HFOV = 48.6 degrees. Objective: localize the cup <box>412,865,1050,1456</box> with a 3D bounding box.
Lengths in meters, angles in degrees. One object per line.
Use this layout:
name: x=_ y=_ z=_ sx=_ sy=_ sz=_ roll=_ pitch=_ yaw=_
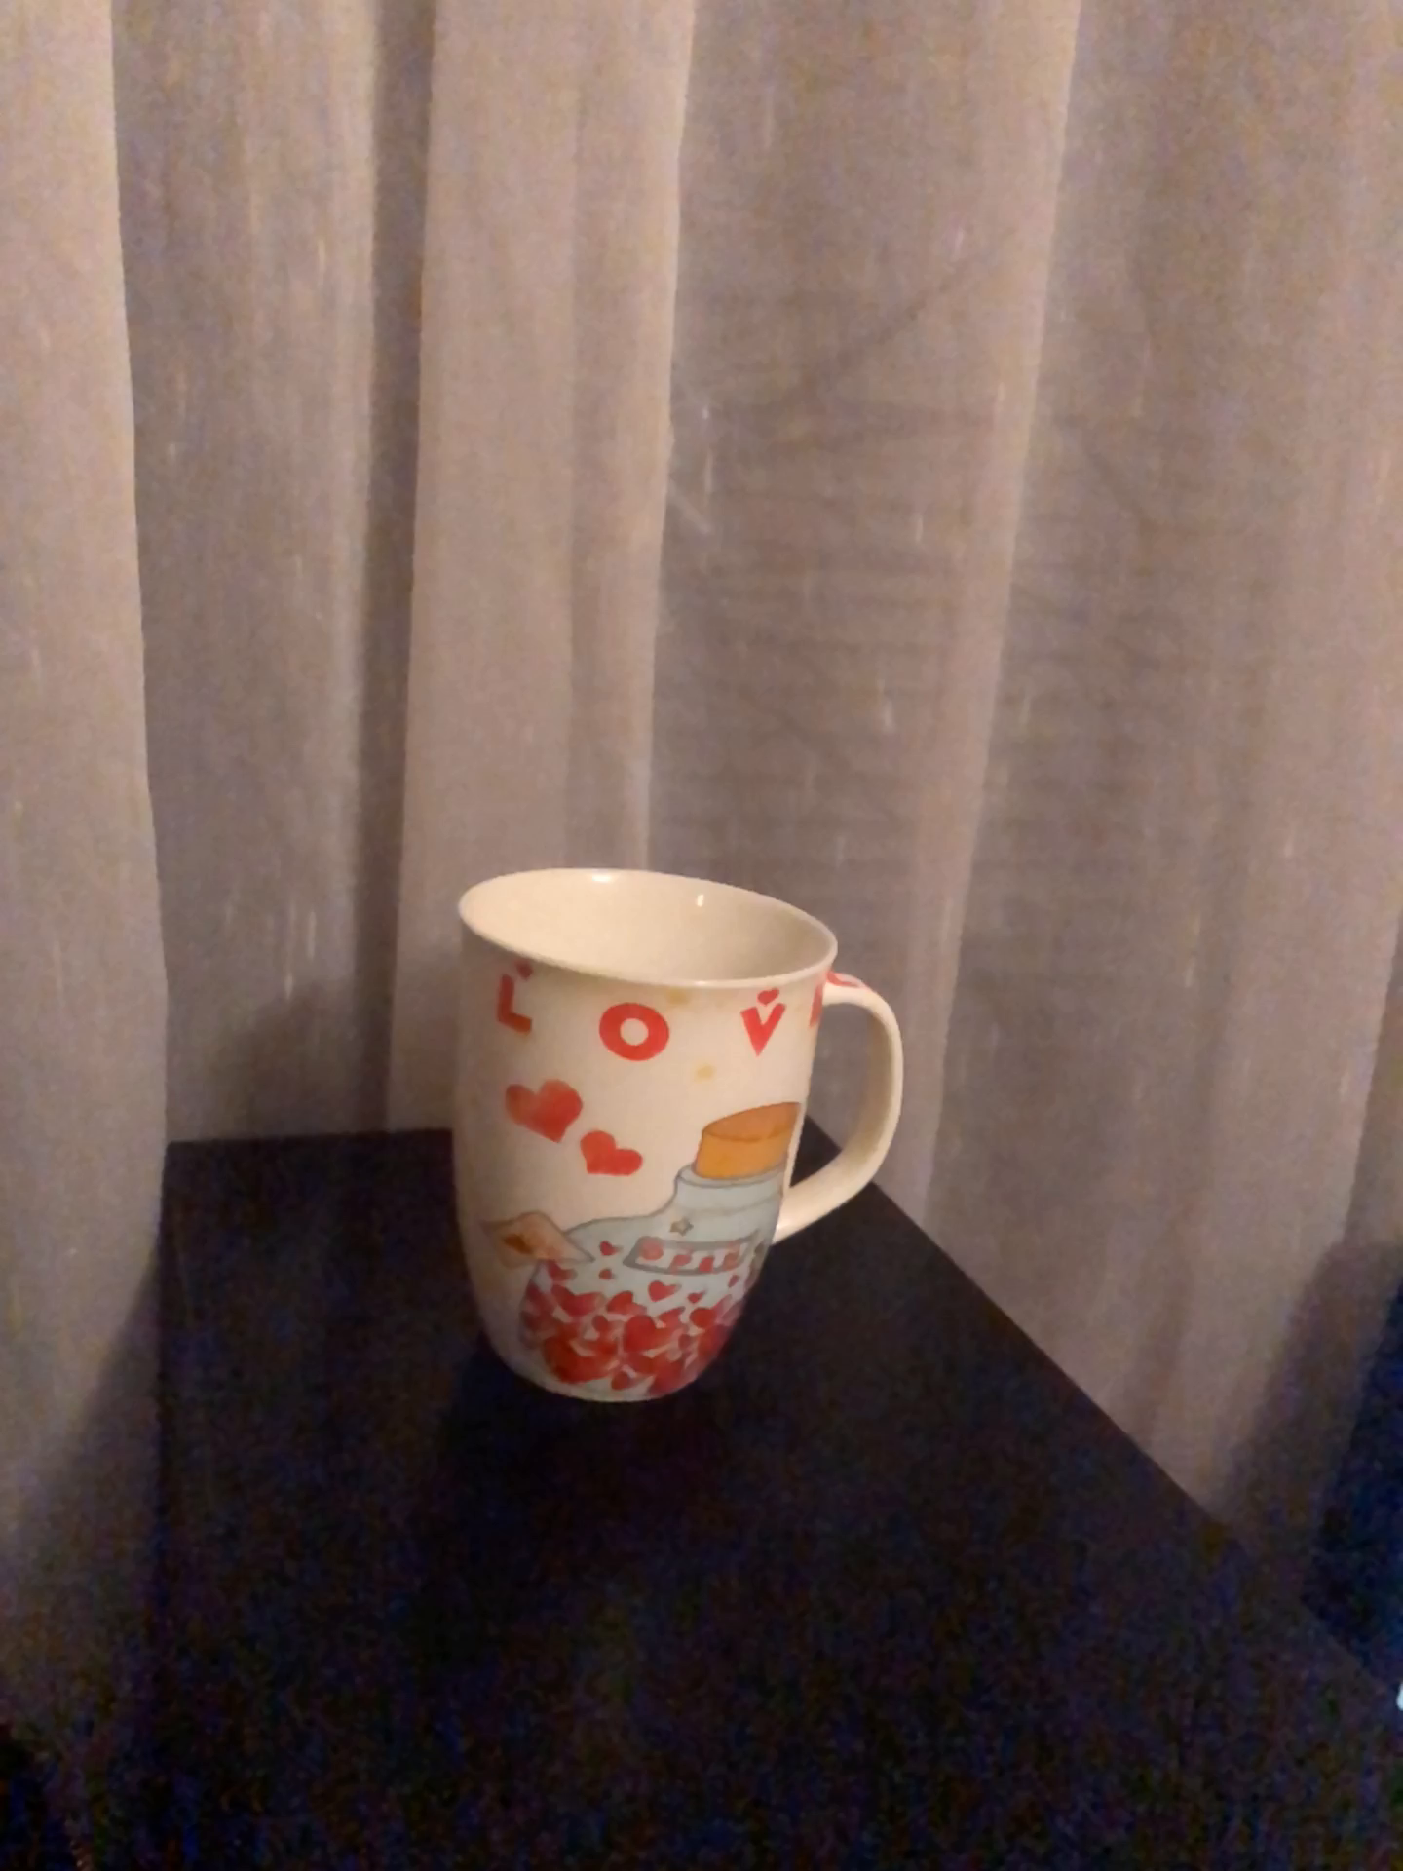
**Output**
cup: x=0.001 y=0.042 z=0.345 sx=0.111 sy=0.098 sz=0.078 roll=-1 pitch=18 yaw=-22
